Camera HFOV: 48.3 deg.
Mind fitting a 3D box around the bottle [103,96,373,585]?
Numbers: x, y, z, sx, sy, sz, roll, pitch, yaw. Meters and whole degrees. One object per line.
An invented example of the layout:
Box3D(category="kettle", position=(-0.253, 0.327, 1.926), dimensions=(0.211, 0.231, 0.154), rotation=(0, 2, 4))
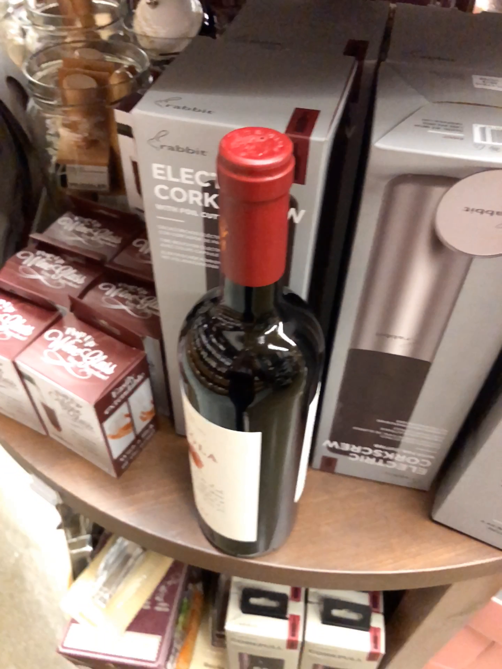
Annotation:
Box3D(category="bottle", position=(-0.007, 0.034, 0.303), dimensions=(0.072, 0.285, 0.076), rotation=(0, 47, 0))
